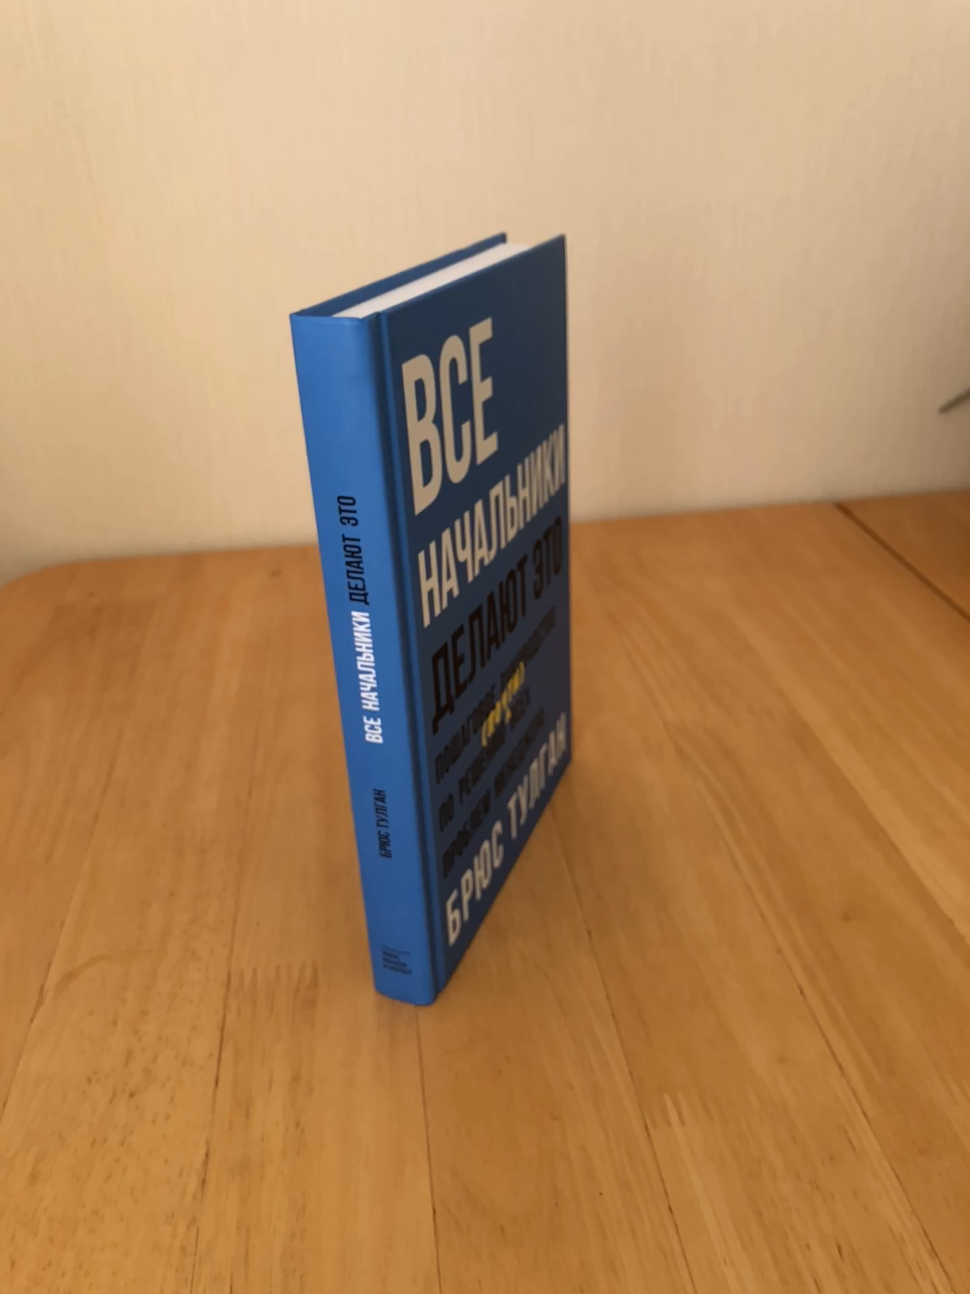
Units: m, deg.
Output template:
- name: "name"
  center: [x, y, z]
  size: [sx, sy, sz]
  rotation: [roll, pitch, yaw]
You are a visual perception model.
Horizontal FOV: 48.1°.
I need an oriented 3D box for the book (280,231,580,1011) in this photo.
- name: "book"
  center: [-0.004, -0.015, 0.354]
  size: [0.025, 0.207, 0.151]
  rotation: [7, 29, 20]
